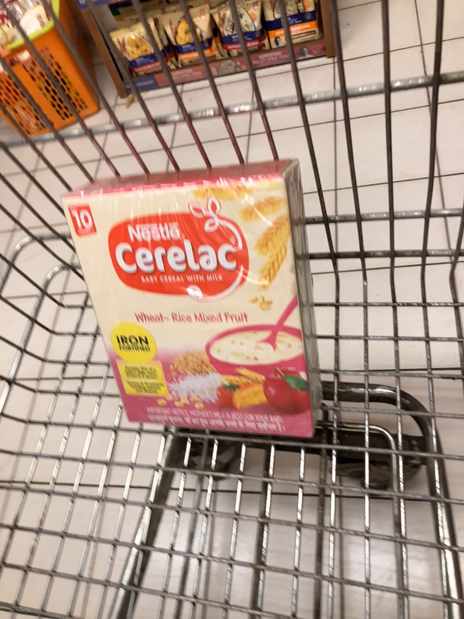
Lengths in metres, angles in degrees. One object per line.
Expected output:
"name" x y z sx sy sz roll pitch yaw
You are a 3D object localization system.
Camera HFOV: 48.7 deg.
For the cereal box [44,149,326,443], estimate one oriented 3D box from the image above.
"cereal box" -0.021 -0.004 0.352 0.150 0.179 0.060 0 27 18
